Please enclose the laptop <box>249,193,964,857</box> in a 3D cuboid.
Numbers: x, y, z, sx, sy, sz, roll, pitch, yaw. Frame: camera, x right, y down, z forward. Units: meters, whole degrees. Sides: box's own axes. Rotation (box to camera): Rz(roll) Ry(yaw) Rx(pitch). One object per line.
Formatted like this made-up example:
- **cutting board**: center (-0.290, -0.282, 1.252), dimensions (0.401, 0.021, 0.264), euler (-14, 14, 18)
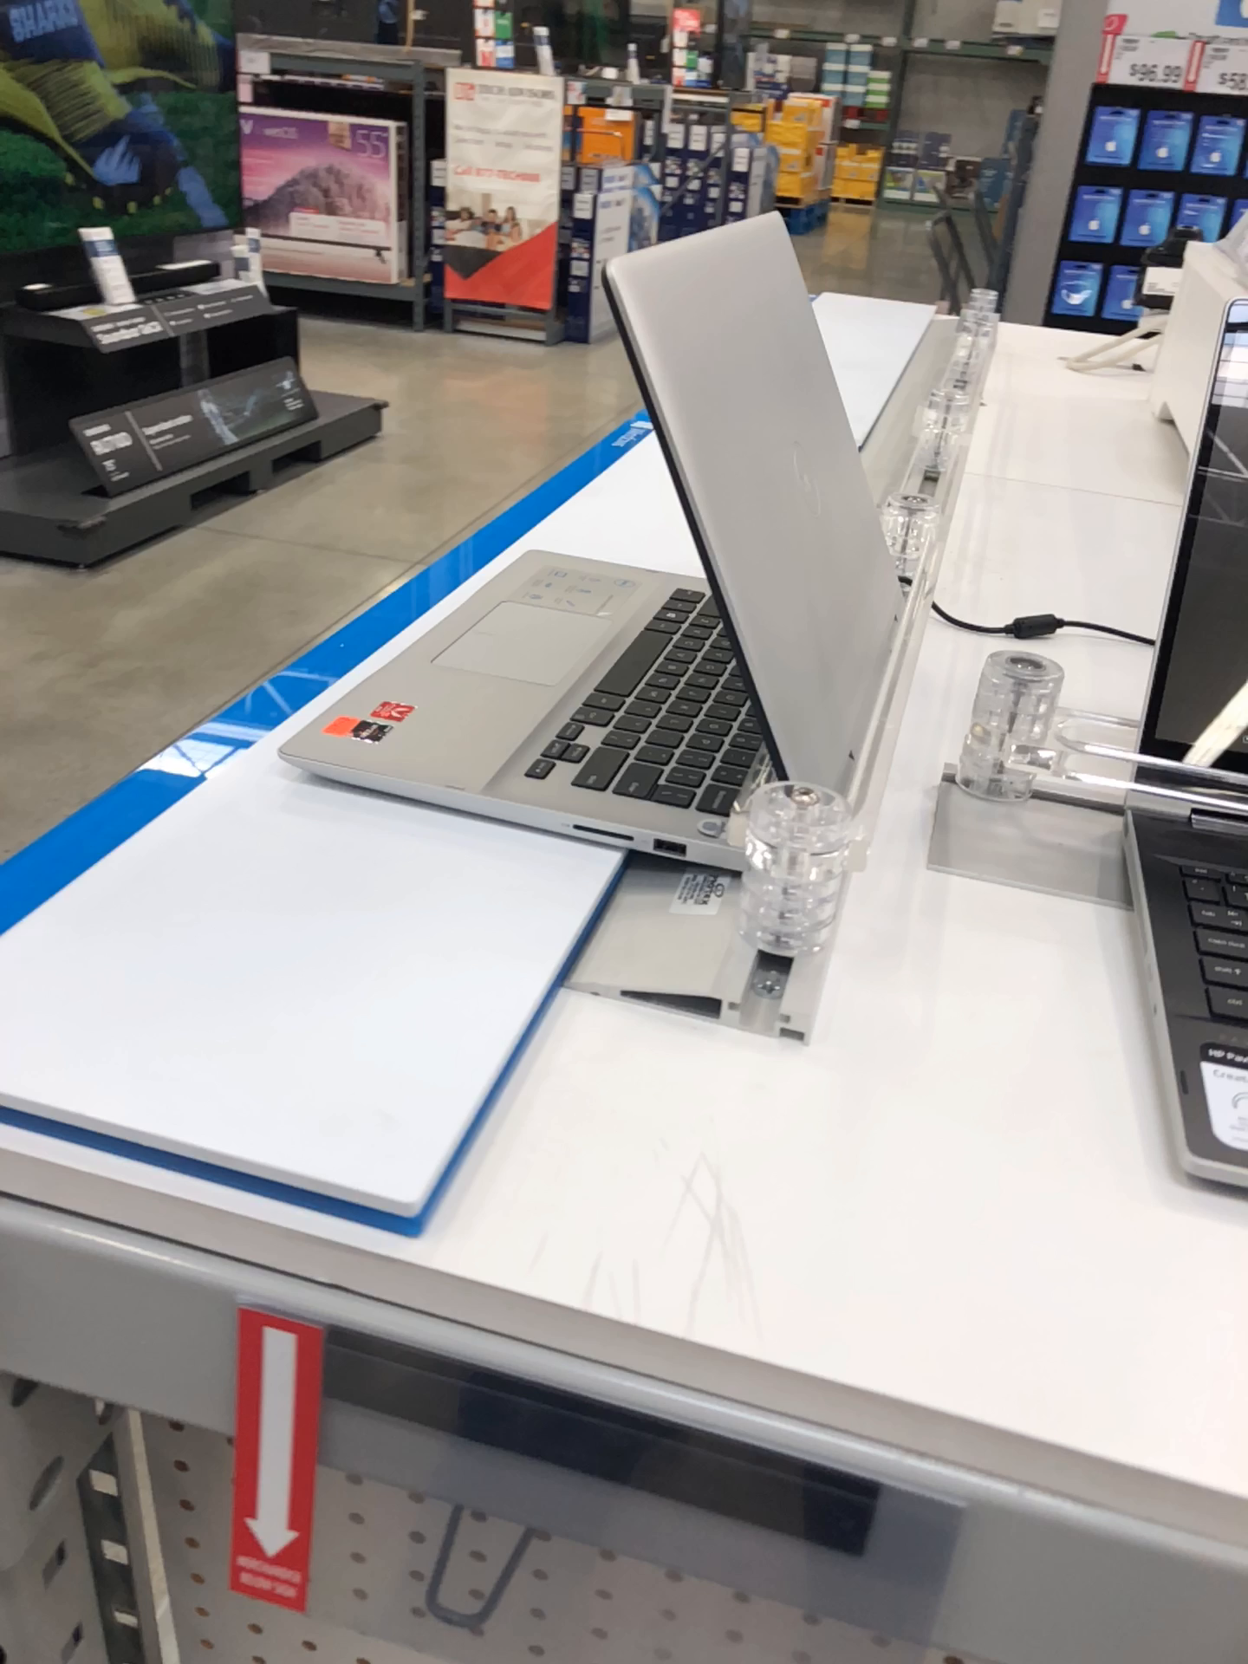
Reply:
- **laptop**: center (0.015, -0.169, 0.629), dimensions (0.222, 0.198, 0.320), euler (12, 29, 12)
